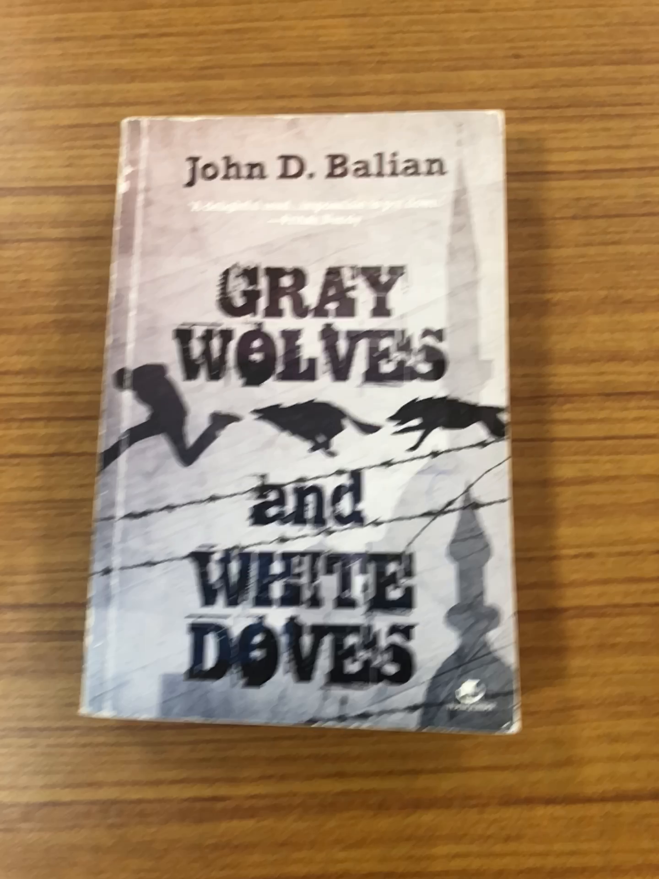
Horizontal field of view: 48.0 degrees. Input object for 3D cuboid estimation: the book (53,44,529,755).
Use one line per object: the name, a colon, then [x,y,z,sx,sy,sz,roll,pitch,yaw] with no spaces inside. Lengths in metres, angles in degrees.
book: [-0.009,-0.018,0.233,0.130,0.030,0.210,0,80,5]
